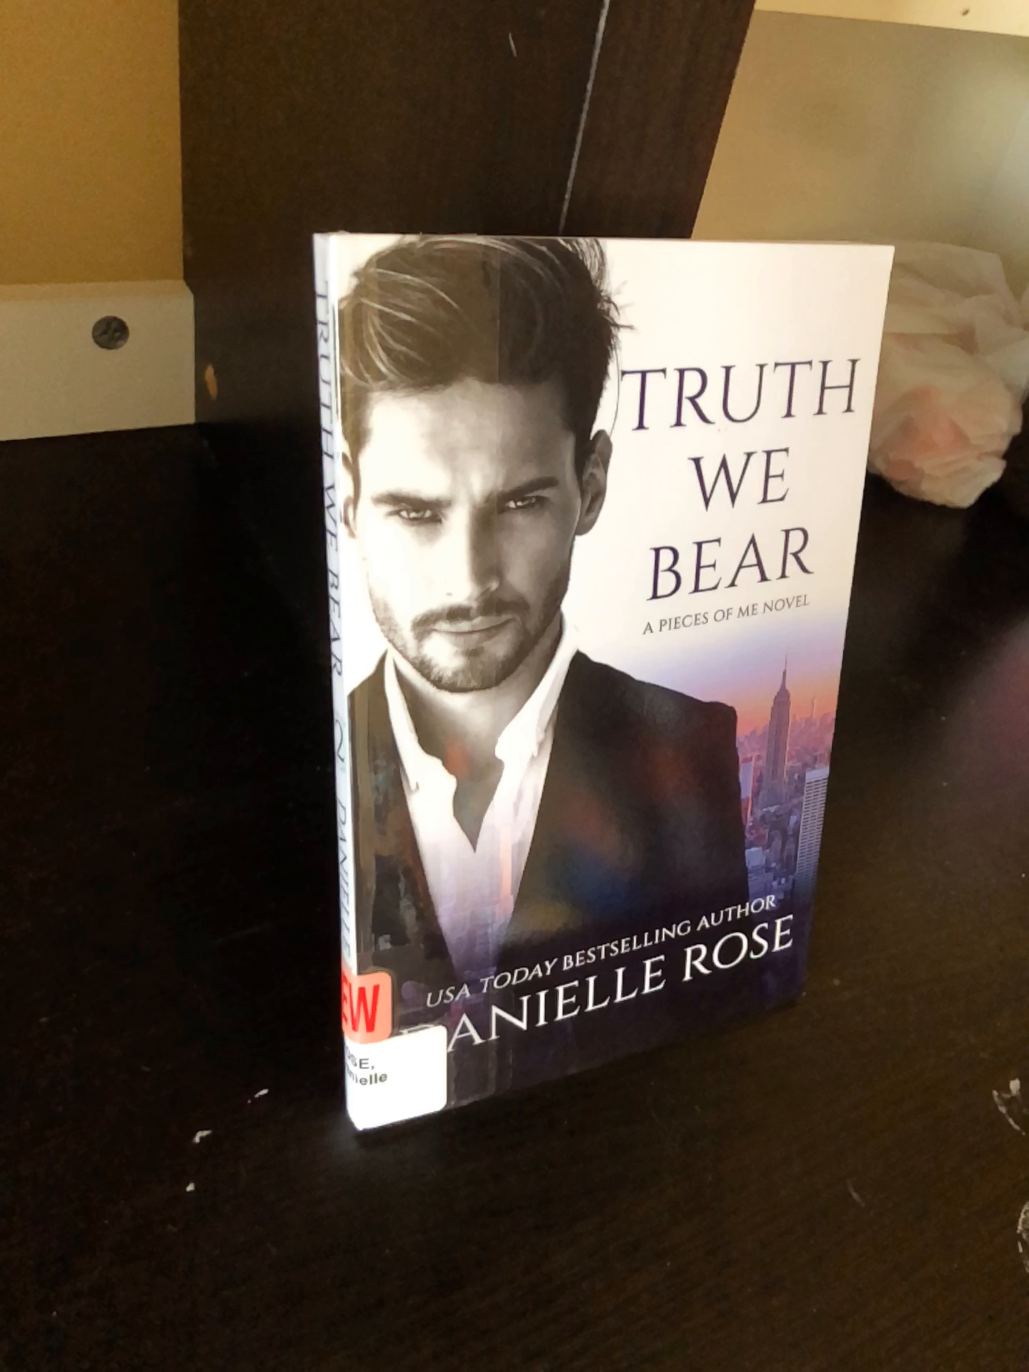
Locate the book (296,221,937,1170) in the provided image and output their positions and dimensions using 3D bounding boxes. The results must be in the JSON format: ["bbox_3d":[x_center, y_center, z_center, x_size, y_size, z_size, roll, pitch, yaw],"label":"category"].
[{"bbox_3d":[0.026,0.004,0.286,0.150,0.220,0.020,-10,26,-27],"label":"book"}]
